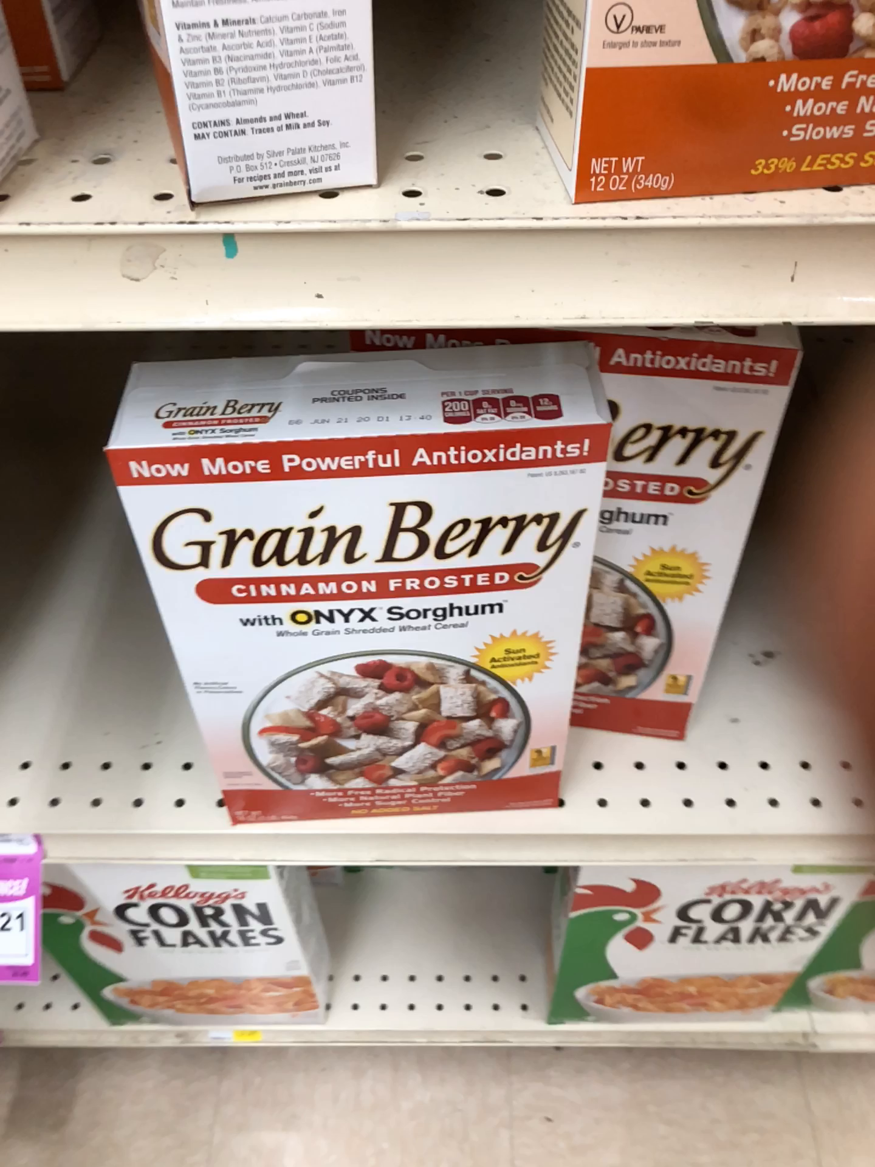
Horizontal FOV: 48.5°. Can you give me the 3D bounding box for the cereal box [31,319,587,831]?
[{"bbox_3d":[-0.046,0.016,0.476,0.200,0.280,0.070,-3,48,-2],"label":"cereal box"}]
